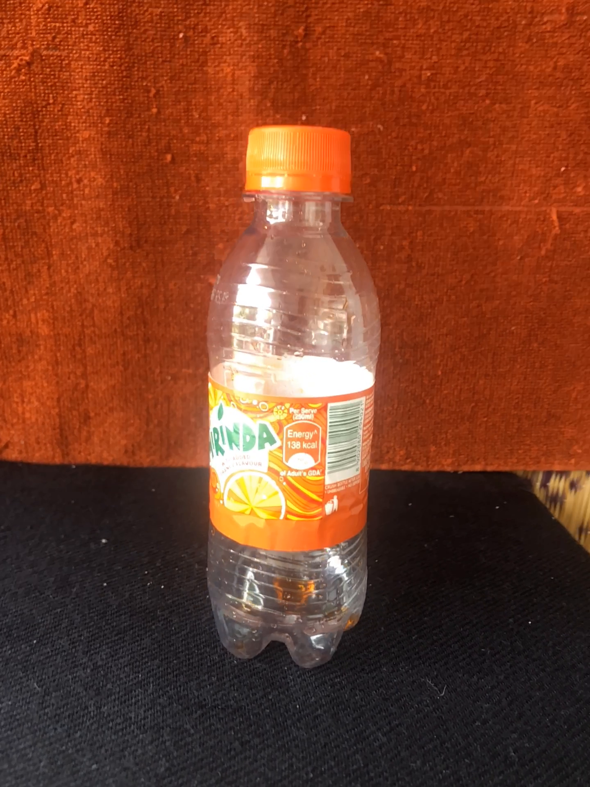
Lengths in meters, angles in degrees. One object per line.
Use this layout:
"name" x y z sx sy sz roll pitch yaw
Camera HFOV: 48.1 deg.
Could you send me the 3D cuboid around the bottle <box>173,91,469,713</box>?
"bottle" 0.001 0.001 0.197 0.050 0.159 0.060 -12 24 -39
